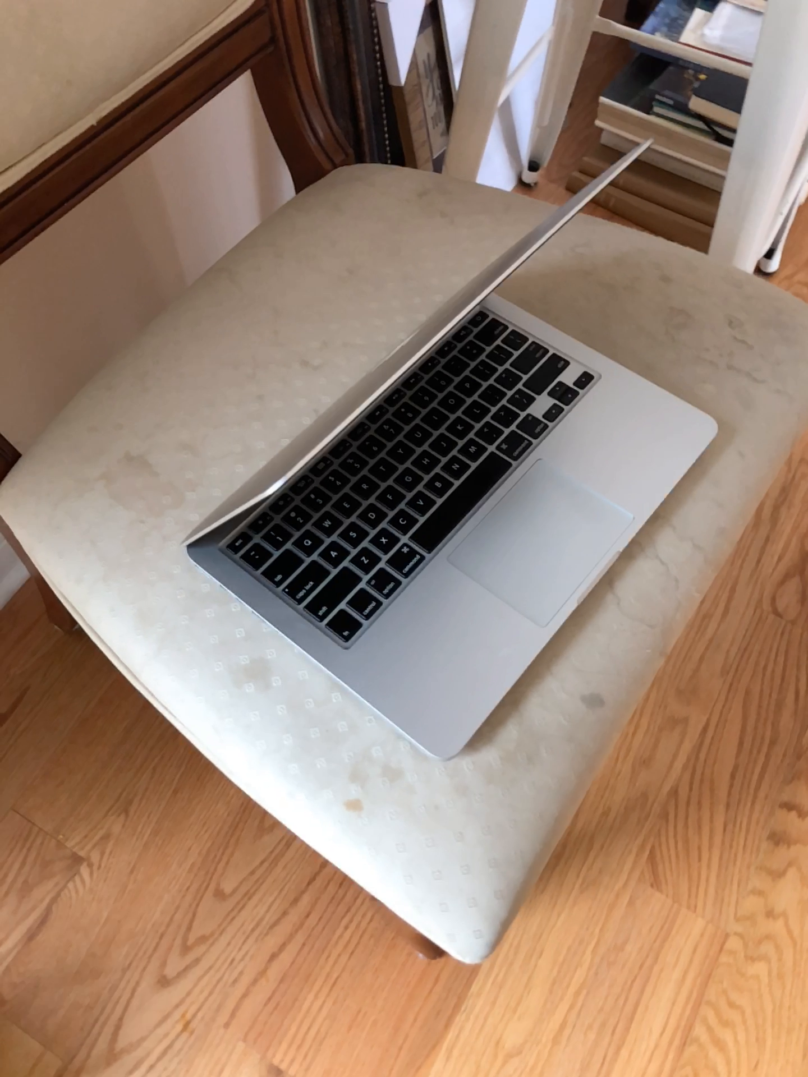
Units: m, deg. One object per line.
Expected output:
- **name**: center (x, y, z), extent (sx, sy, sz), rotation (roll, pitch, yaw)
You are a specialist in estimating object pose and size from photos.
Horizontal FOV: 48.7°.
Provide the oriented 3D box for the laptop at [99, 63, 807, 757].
- **laptop**: center (0.040, -0.082, 0.519), extent (0.218, 0.183, 0.309), rotation (35, 66, 19)
